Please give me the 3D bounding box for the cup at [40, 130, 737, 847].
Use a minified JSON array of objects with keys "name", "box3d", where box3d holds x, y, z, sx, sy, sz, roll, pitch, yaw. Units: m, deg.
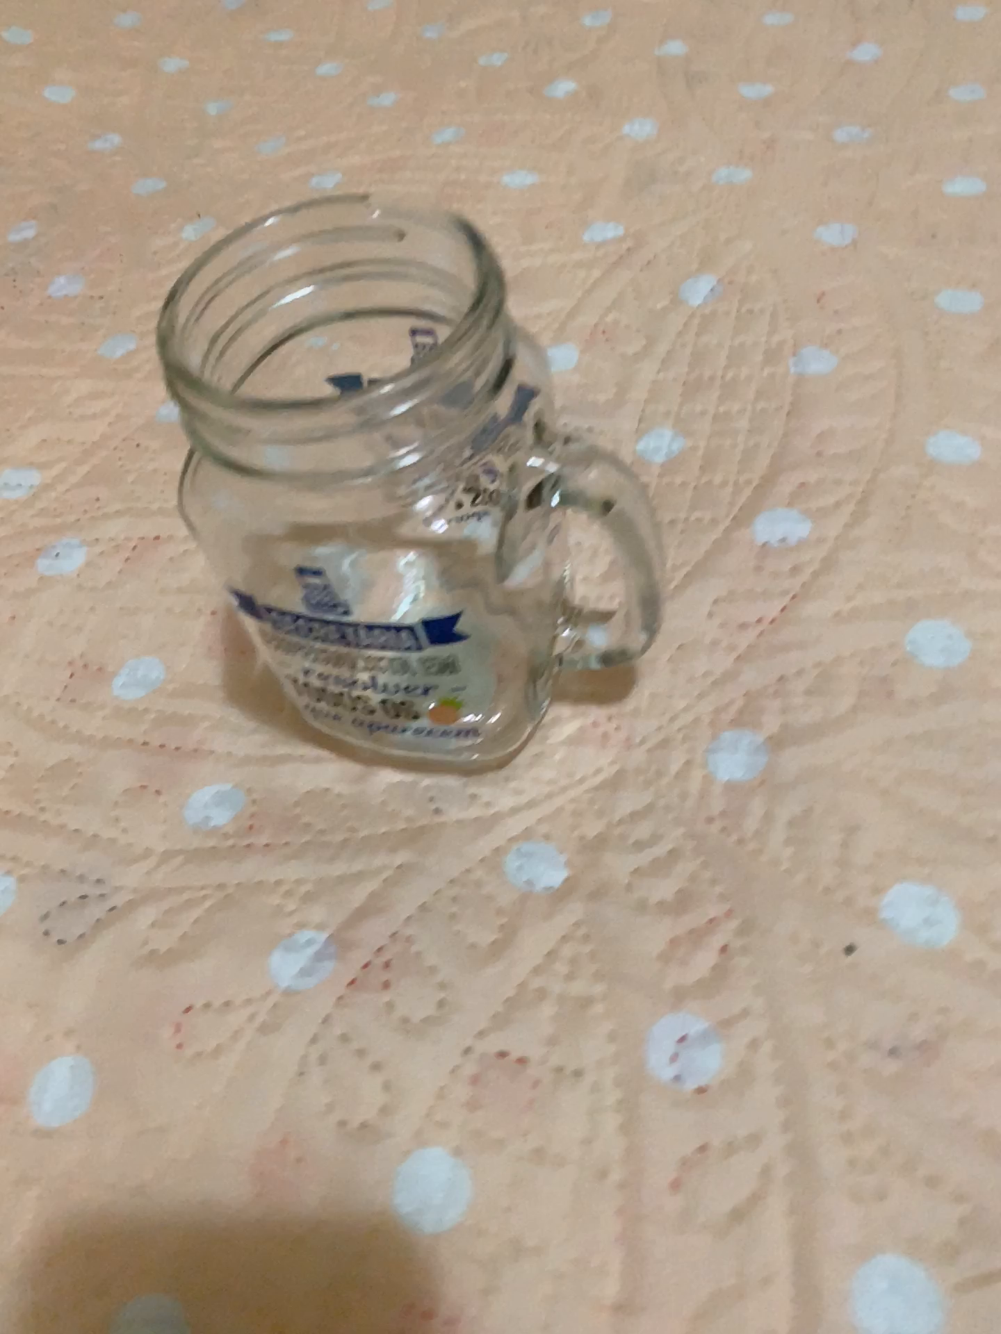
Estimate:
[{"name":"cup","box3d":[-0.010,-0.036,0.229,0.100,0.119,0.080,13,56,18]}]
